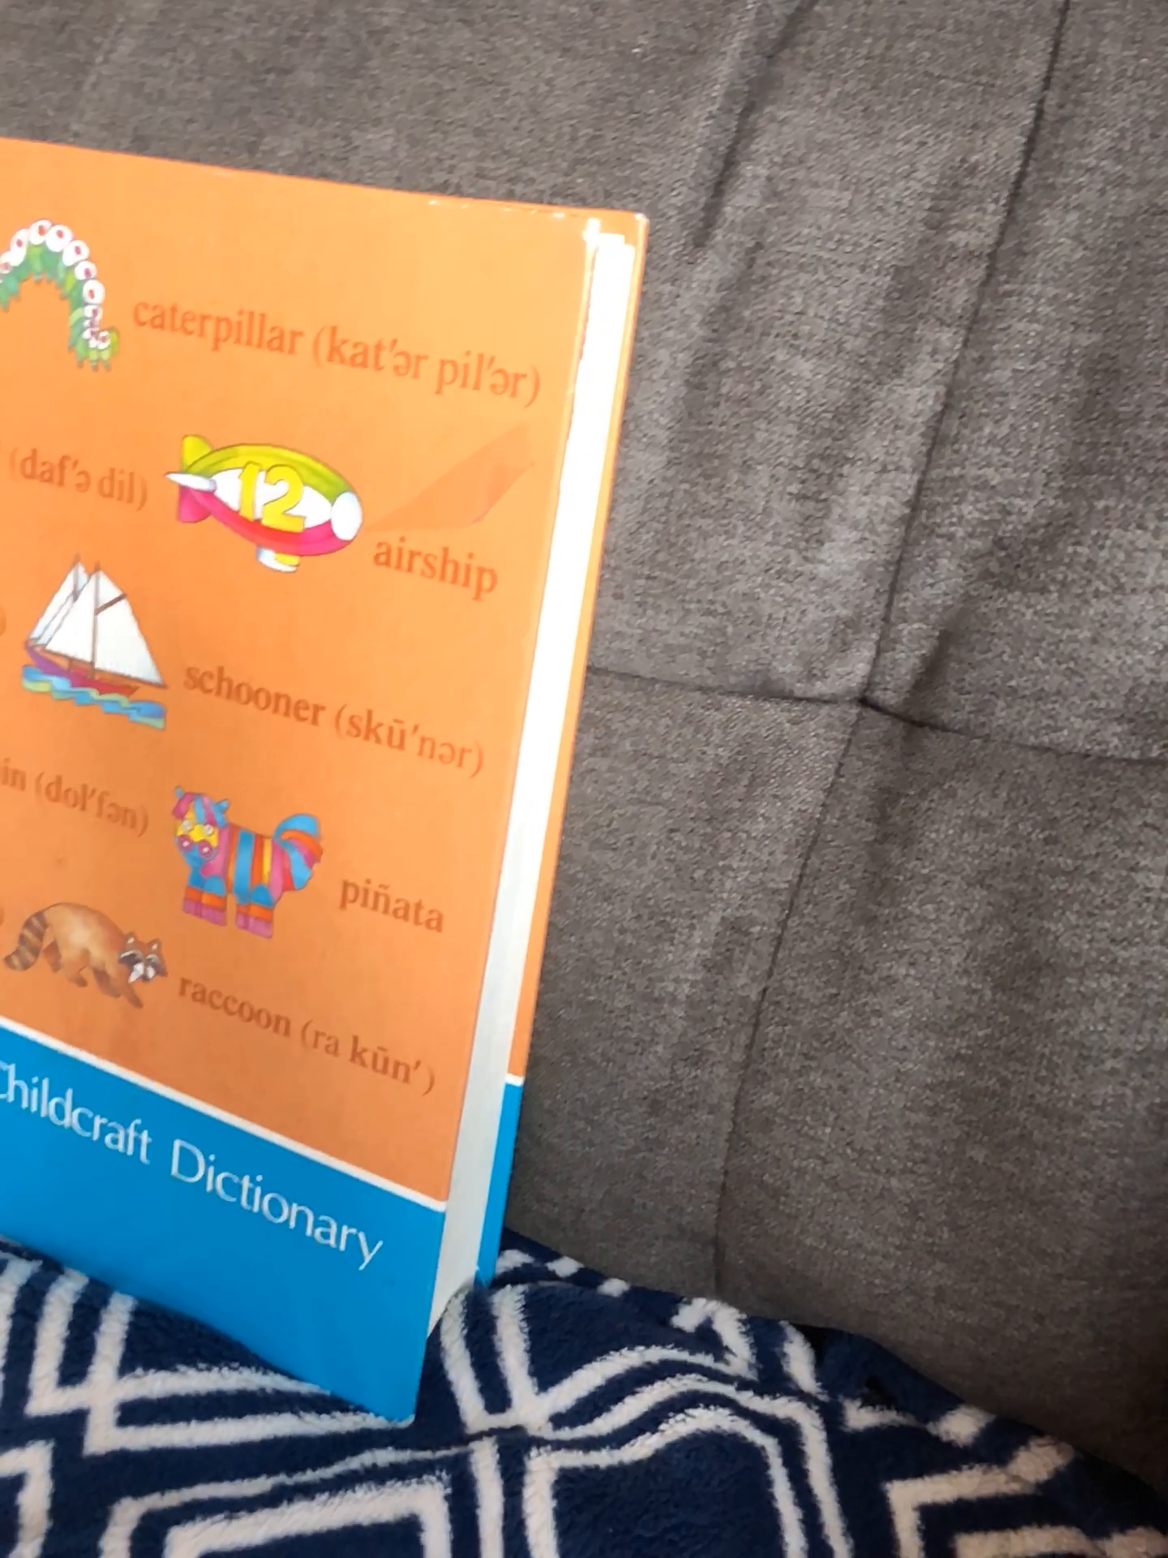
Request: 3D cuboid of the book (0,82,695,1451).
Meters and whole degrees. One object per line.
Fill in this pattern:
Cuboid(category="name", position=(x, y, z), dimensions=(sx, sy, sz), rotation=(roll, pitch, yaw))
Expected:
Cuboid(category="book", position=(-0.104, -0.006, 0.308), dimensions=(0.210, 0.260, 0.055), rotation=(16, 18, 19))
